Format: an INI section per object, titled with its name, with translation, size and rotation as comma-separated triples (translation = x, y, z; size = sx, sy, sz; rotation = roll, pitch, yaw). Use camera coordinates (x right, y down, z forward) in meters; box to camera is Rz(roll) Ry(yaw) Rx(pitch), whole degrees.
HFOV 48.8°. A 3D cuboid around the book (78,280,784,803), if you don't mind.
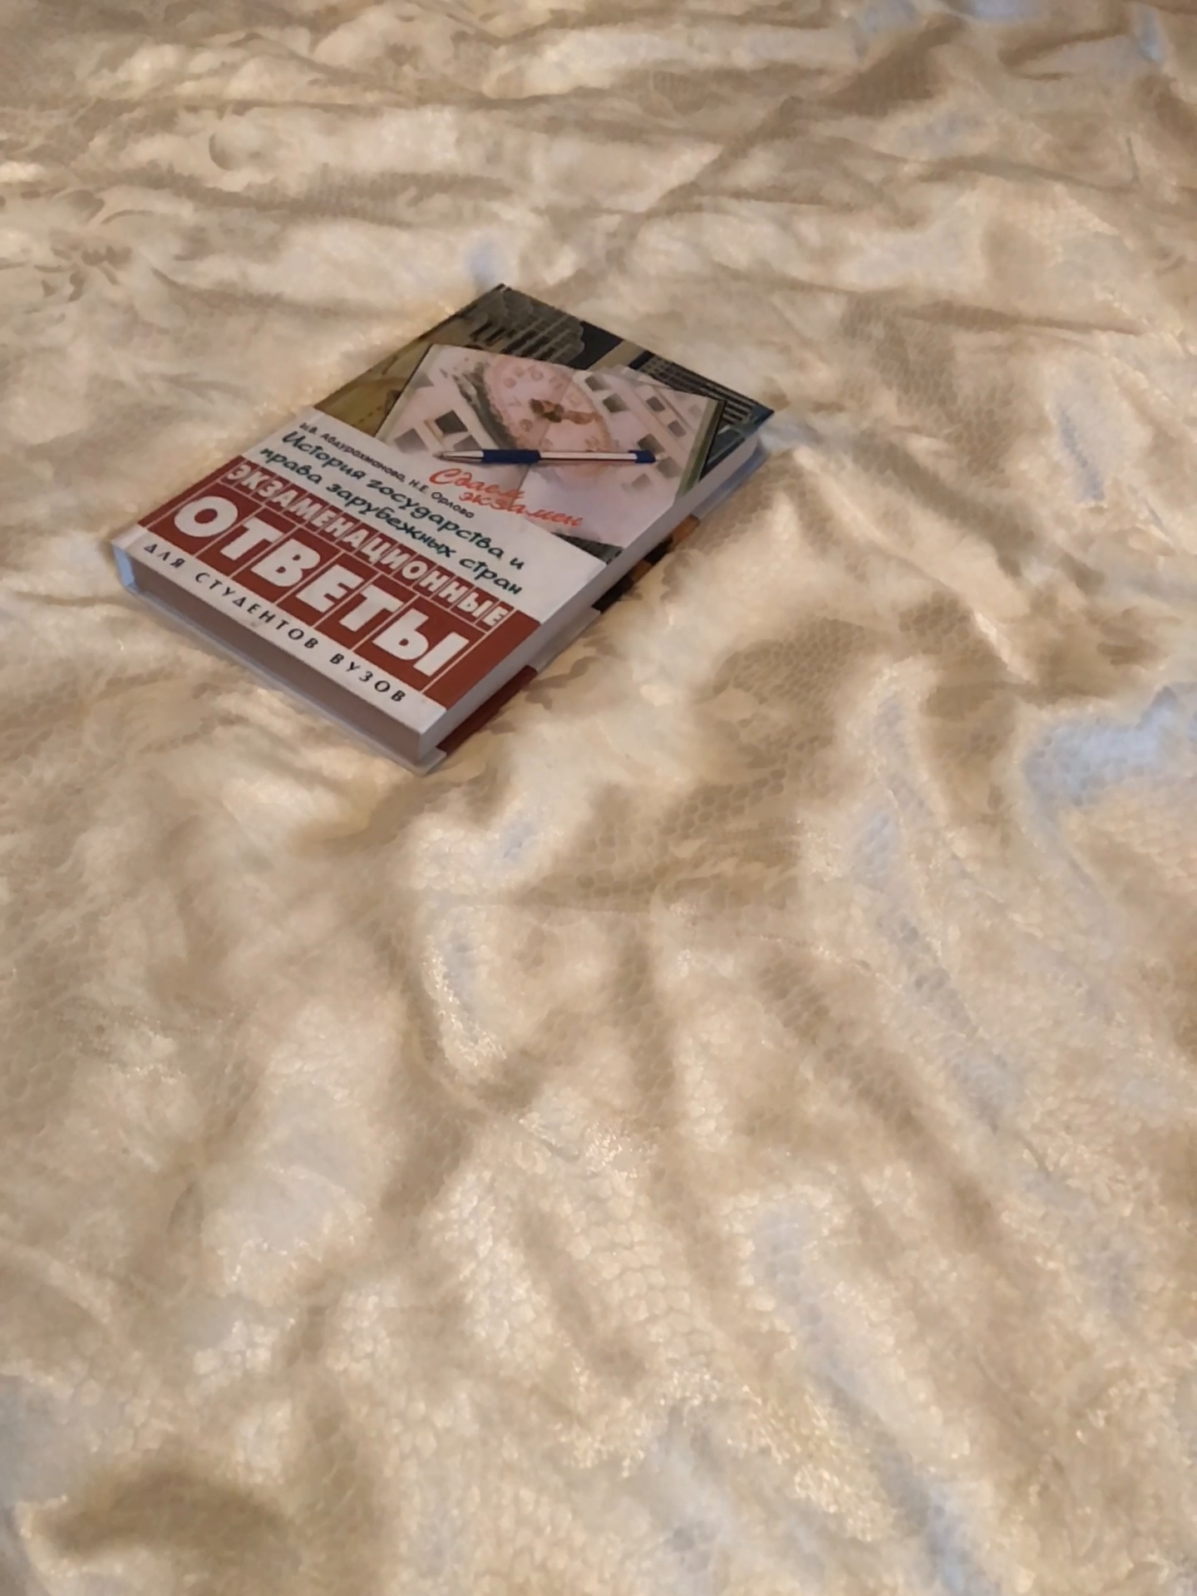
[book]
translation = -0.053, -0.108, 0.484
size = 0.150, 0.030, 0.211
rotation = 31, 55, 20
